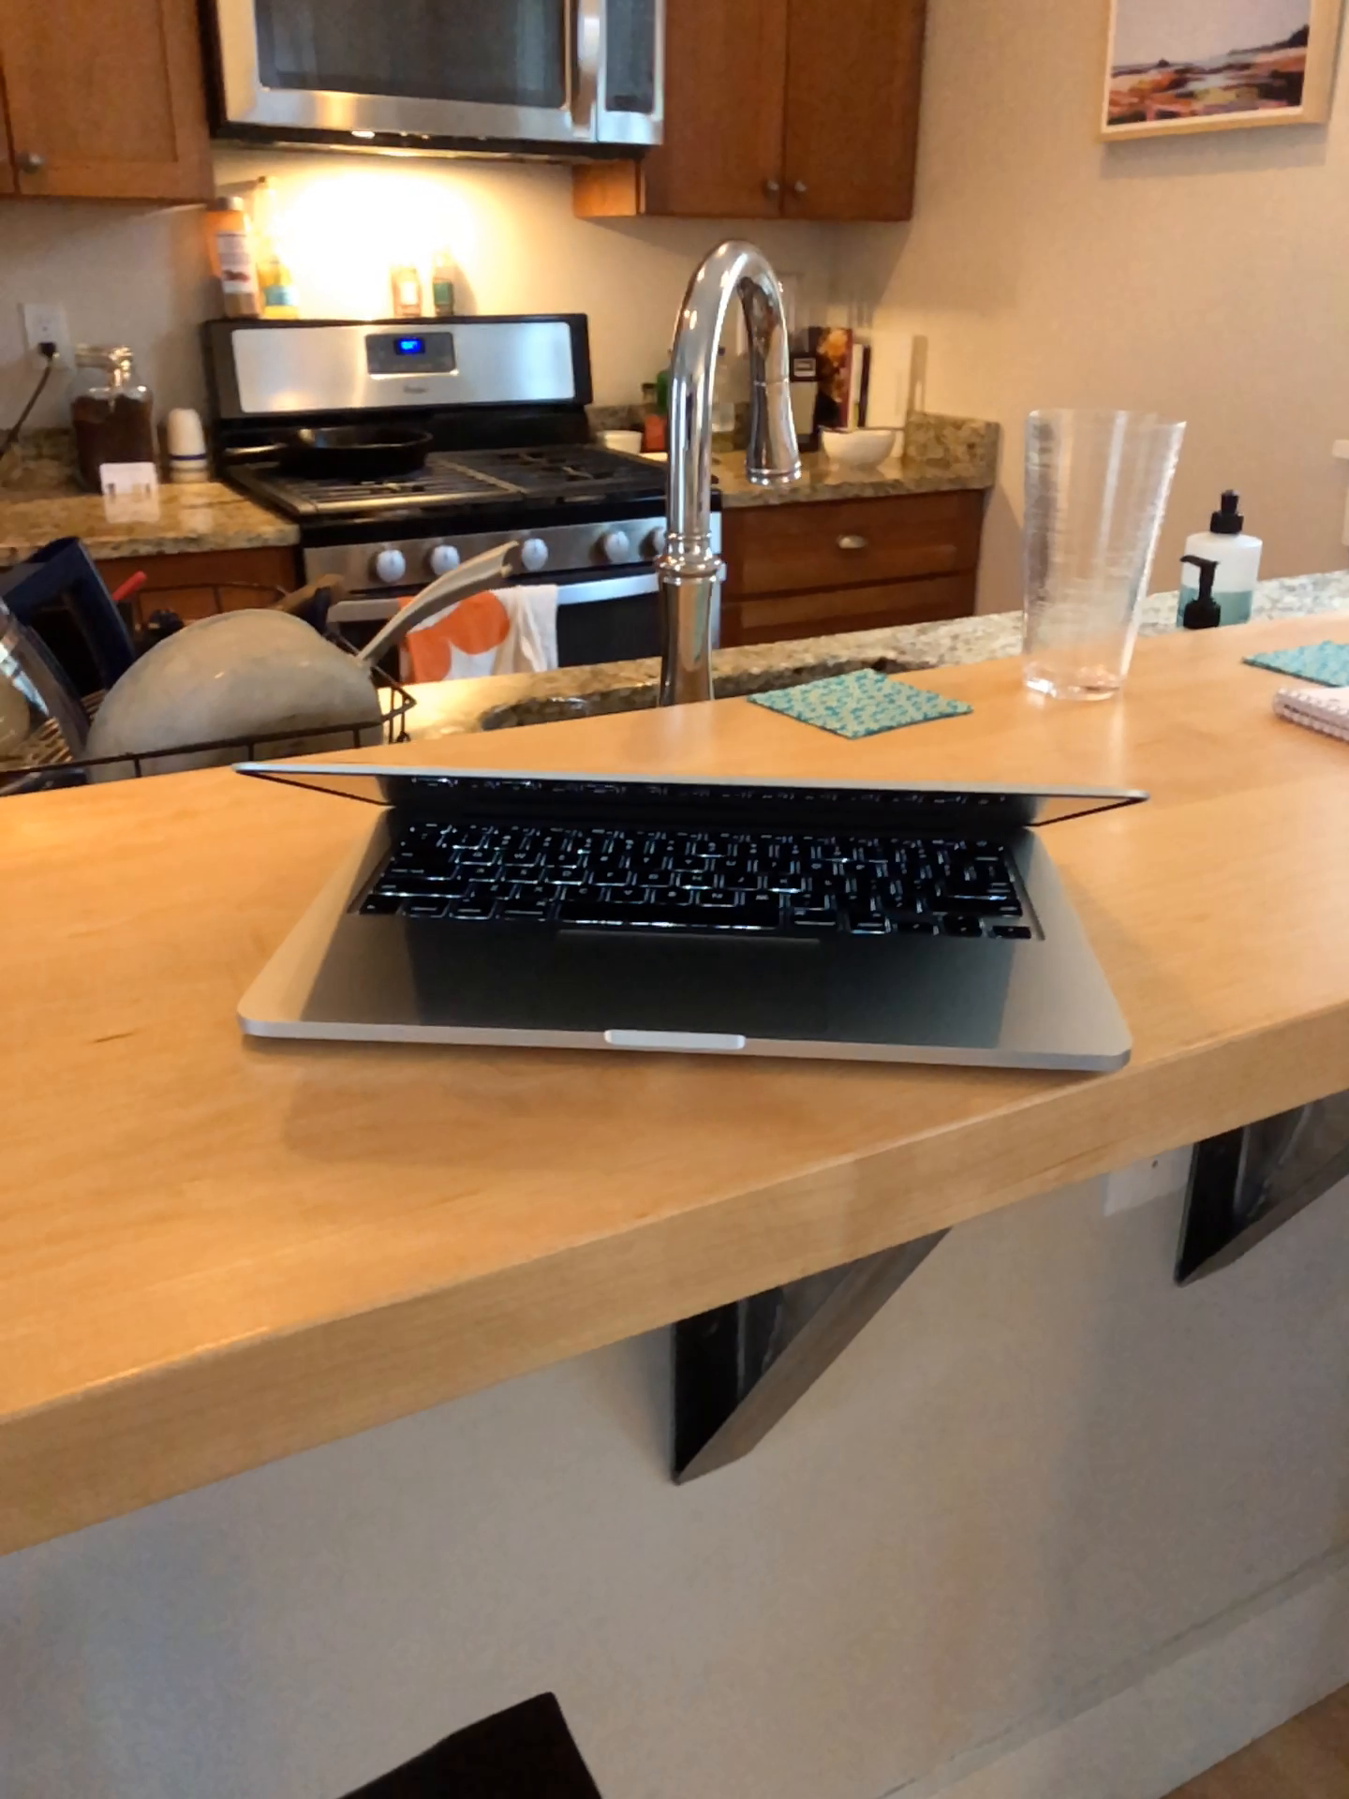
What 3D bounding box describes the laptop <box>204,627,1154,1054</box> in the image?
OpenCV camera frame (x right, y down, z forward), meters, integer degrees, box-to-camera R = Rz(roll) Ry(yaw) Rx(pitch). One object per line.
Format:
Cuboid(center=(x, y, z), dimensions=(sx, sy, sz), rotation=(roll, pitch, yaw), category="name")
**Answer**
Cuboid(center=(0.005, -0.036, 0.580), dimensions=(0.299, 0.084, 0.211), rotation=(2, 24, 3), category="laptop")
